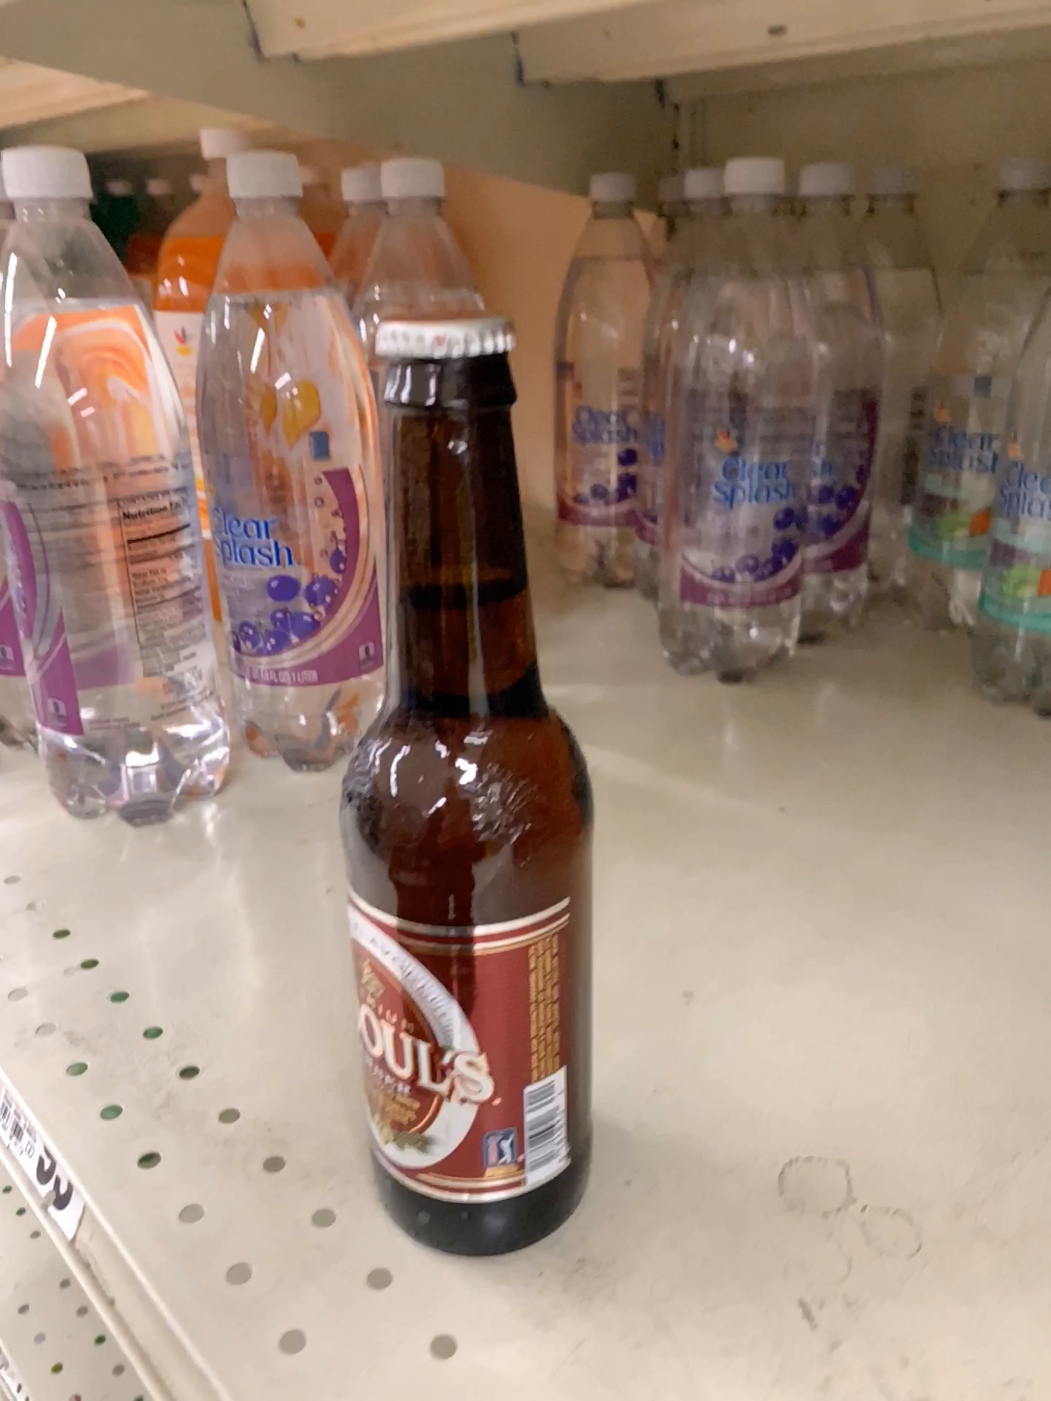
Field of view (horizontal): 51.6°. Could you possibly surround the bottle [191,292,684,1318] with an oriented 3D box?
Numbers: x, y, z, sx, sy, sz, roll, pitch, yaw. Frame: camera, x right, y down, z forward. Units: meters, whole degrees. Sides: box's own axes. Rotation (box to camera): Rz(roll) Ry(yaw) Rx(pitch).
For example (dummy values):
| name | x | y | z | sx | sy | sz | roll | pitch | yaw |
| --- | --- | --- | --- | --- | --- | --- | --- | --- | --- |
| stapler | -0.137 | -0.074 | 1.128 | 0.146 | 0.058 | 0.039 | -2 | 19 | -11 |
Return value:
| name | x | y | z | sx | sy | sz | roll | pitch | yaw |
| --- | --- | --- | --- | --- | --- | --- | --- | --- | --- |
| bottle | -0.016 | 0.024 | 0.255 | 0.070 | 0.219 | 0.070 | -2 | 24 | 1 |
